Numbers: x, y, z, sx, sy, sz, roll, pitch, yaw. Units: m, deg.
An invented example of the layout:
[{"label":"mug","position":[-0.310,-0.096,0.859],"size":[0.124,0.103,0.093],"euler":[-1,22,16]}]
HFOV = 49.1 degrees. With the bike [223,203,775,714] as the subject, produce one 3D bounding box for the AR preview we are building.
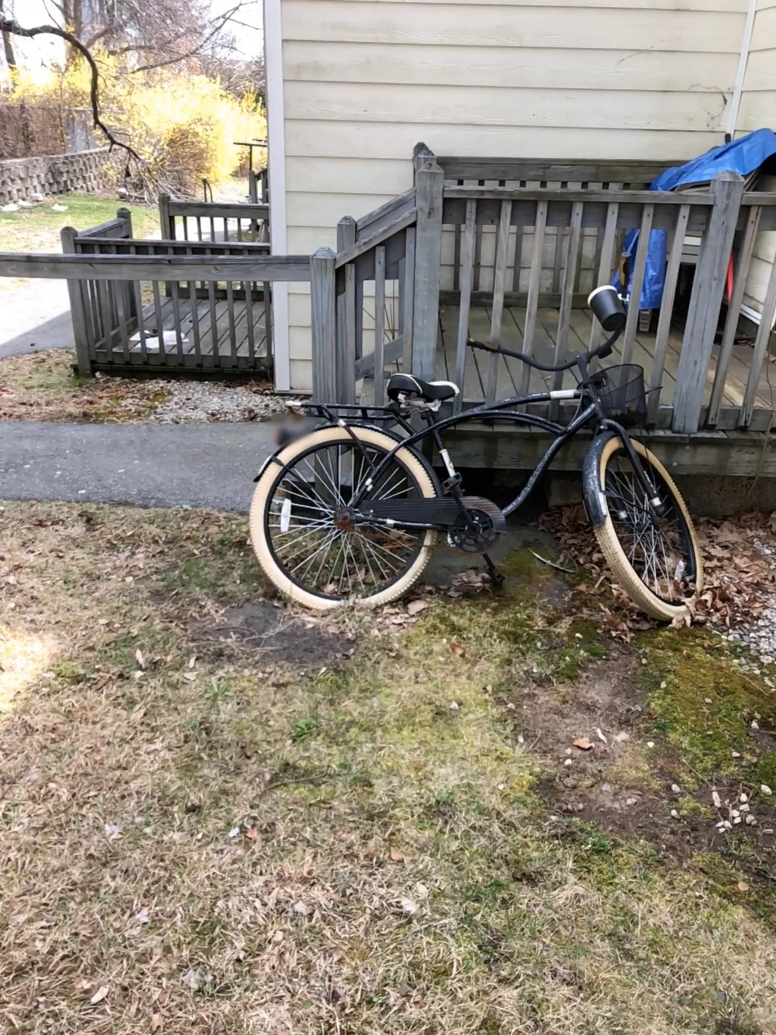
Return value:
[{"label":"bike","position":[0.421,-0.253,2.866],"size":[1.609,1.313,0.942],"euler":[-6,26,-9]}]
